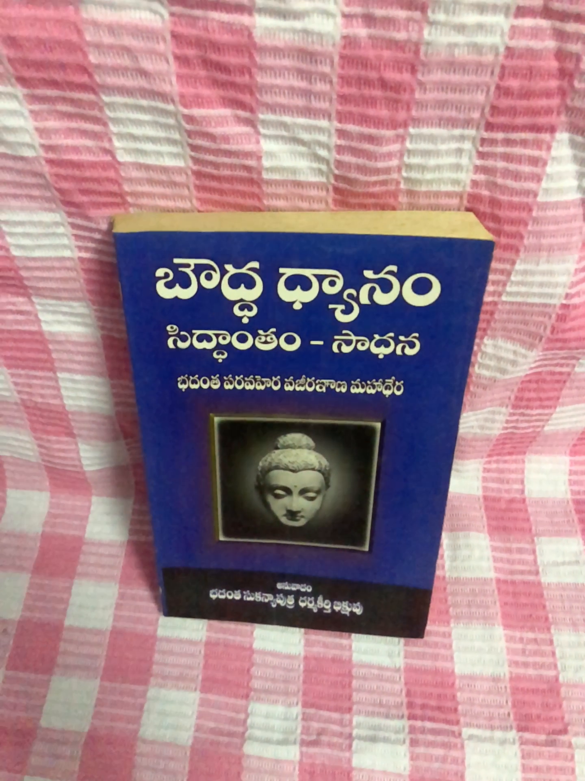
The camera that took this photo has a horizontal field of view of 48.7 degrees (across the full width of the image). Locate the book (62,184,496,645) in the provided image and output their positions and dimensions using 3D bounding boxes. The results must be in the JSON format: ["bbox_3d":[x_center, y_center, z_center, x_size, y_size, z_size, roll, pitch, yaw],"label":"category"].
[{"bbox_3d":[-0.007,0.025,0.308,0.160,0.229,0.030,3,31,4],"label":"book"}]
